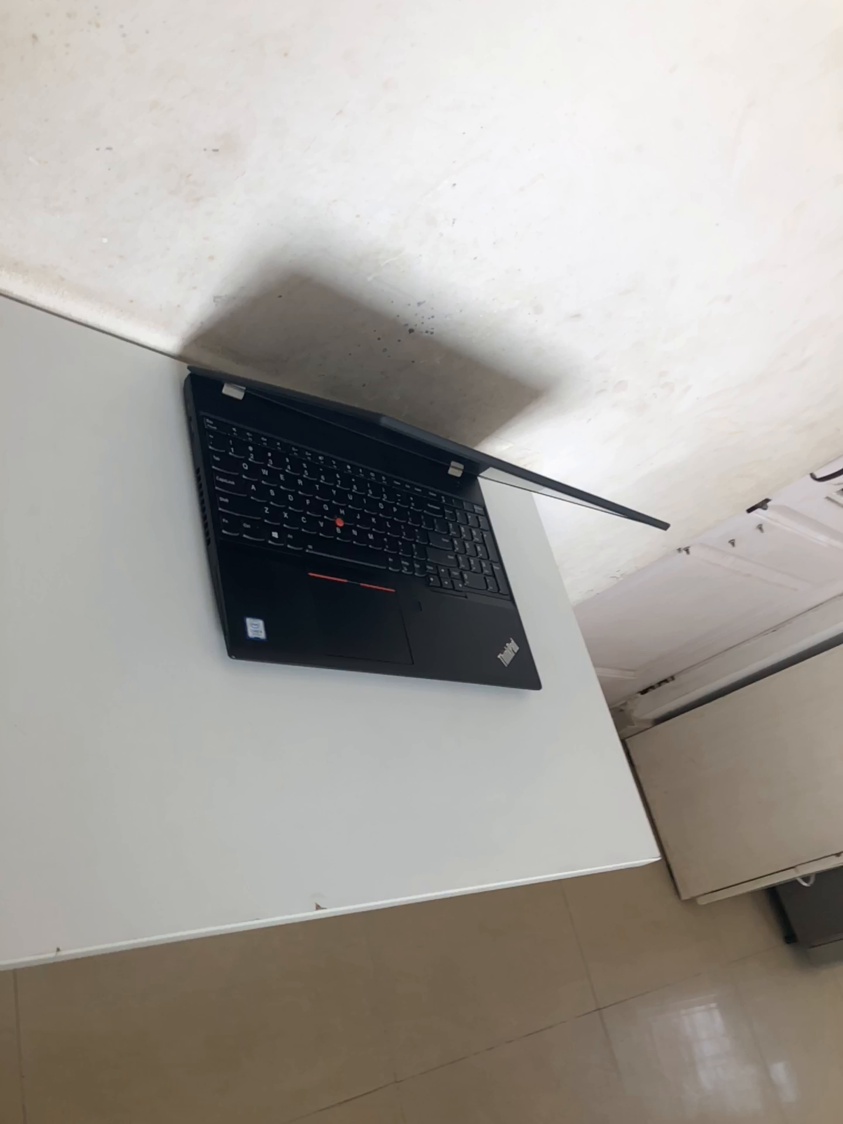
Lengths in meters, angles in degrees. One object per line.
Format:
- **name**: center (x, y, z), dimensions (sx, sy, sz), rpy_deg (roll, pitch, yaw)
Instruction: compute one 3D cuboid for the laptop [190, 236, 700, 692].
- **laptop**: center (0.026, -0.050, 0.752), dimensions (0.348, 0.173, 0.234), rpy_deg (13, 52, -44)
